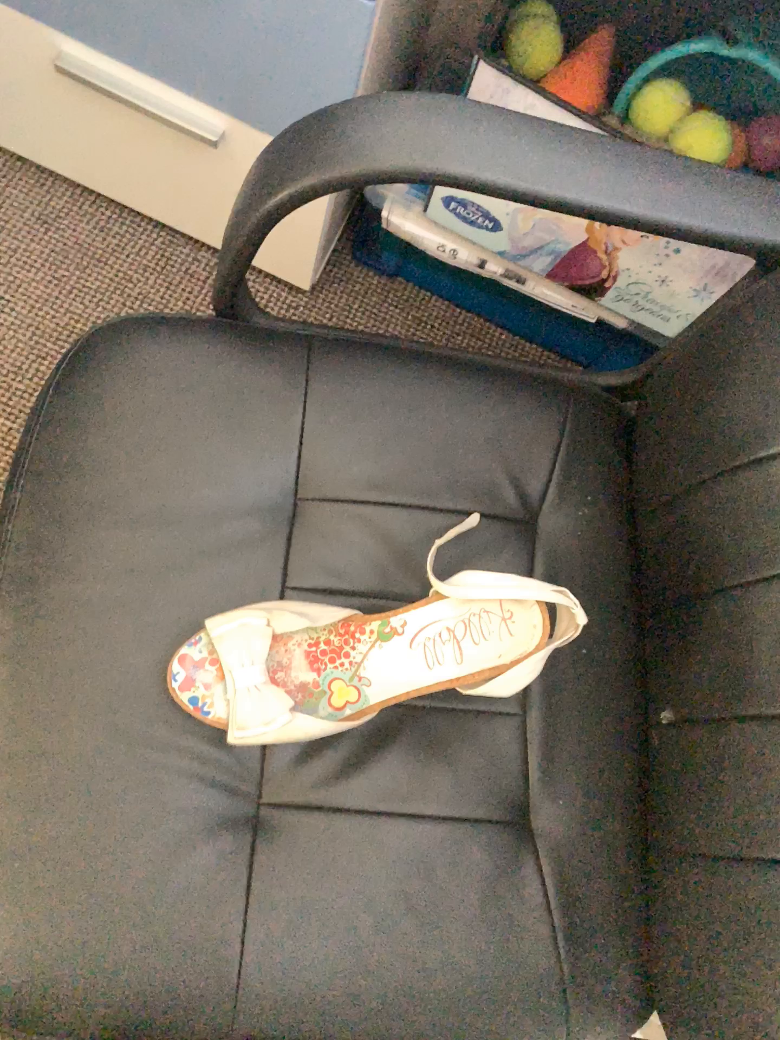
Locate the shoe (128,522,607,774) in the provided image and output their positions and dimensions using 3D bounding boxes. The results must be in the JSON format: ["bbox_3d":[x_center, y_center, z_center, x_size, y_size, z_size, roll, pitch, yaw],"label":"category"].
[{"bbox_3d":[-0.026,0.085,0.502,0.240,0.189,0.100,-5,76,-13],"label":"shoe"}]
